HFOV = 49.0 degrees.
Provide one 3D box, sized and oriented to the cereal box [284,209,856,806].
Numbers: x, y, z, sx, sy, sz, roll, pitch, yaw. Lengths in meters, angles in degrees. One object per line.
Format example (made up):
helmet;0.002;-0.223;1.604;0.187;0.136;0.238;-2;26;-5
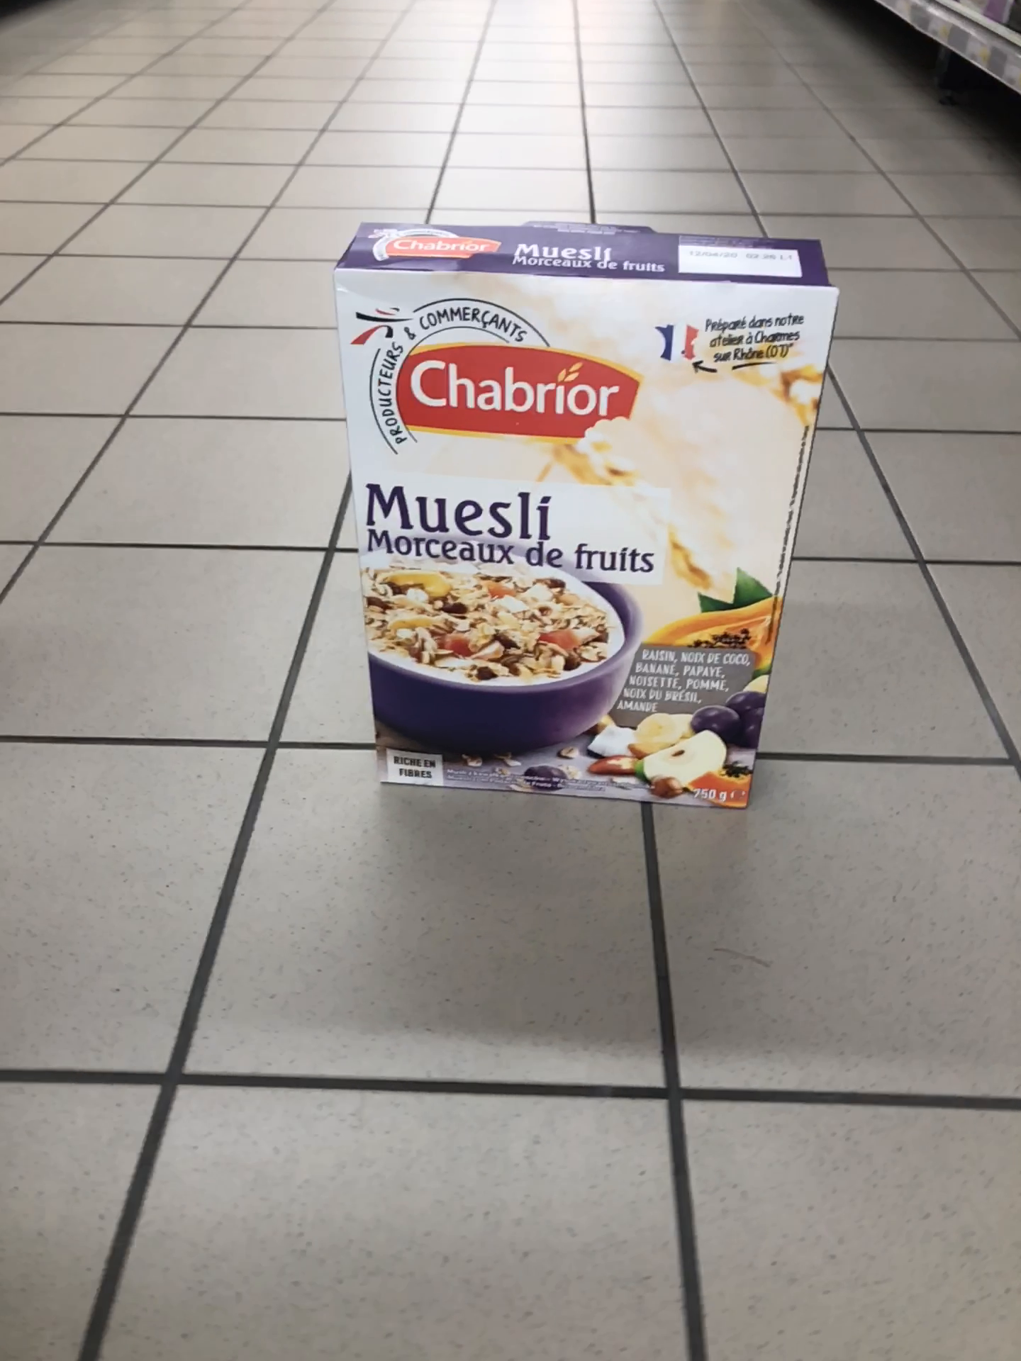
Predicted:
cereal box;0.023;-0.068;0.517;0.210;0.258;0.070;4;37;4
